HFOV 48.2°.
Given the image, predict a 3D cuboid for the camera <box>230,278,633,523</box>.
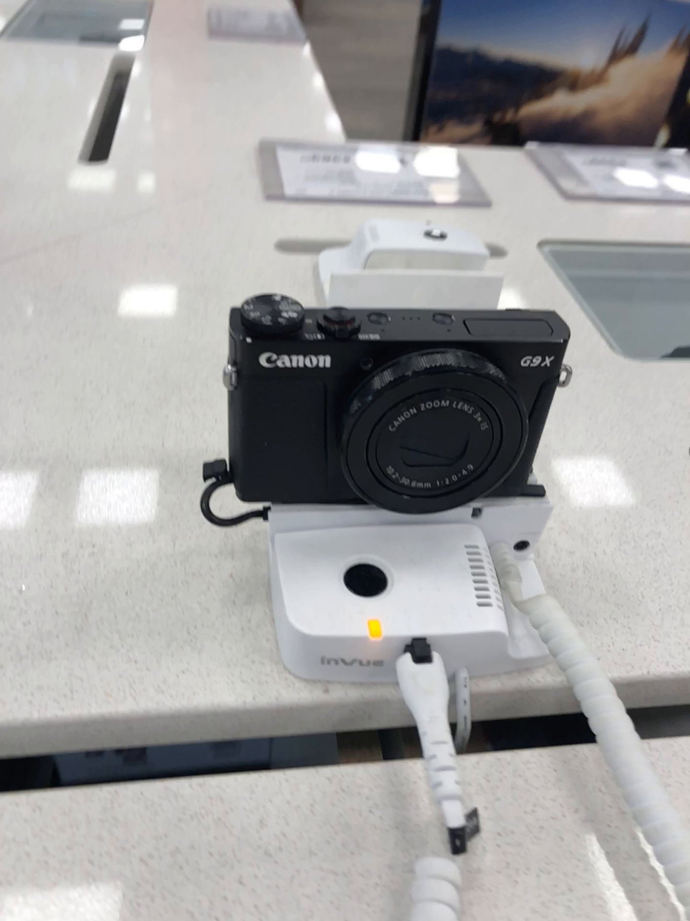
[{"bbox_3d":[0.019,-0.016,0.217,0.100,0.060,0.030,-1,40,-10],"label":"camera"}]
